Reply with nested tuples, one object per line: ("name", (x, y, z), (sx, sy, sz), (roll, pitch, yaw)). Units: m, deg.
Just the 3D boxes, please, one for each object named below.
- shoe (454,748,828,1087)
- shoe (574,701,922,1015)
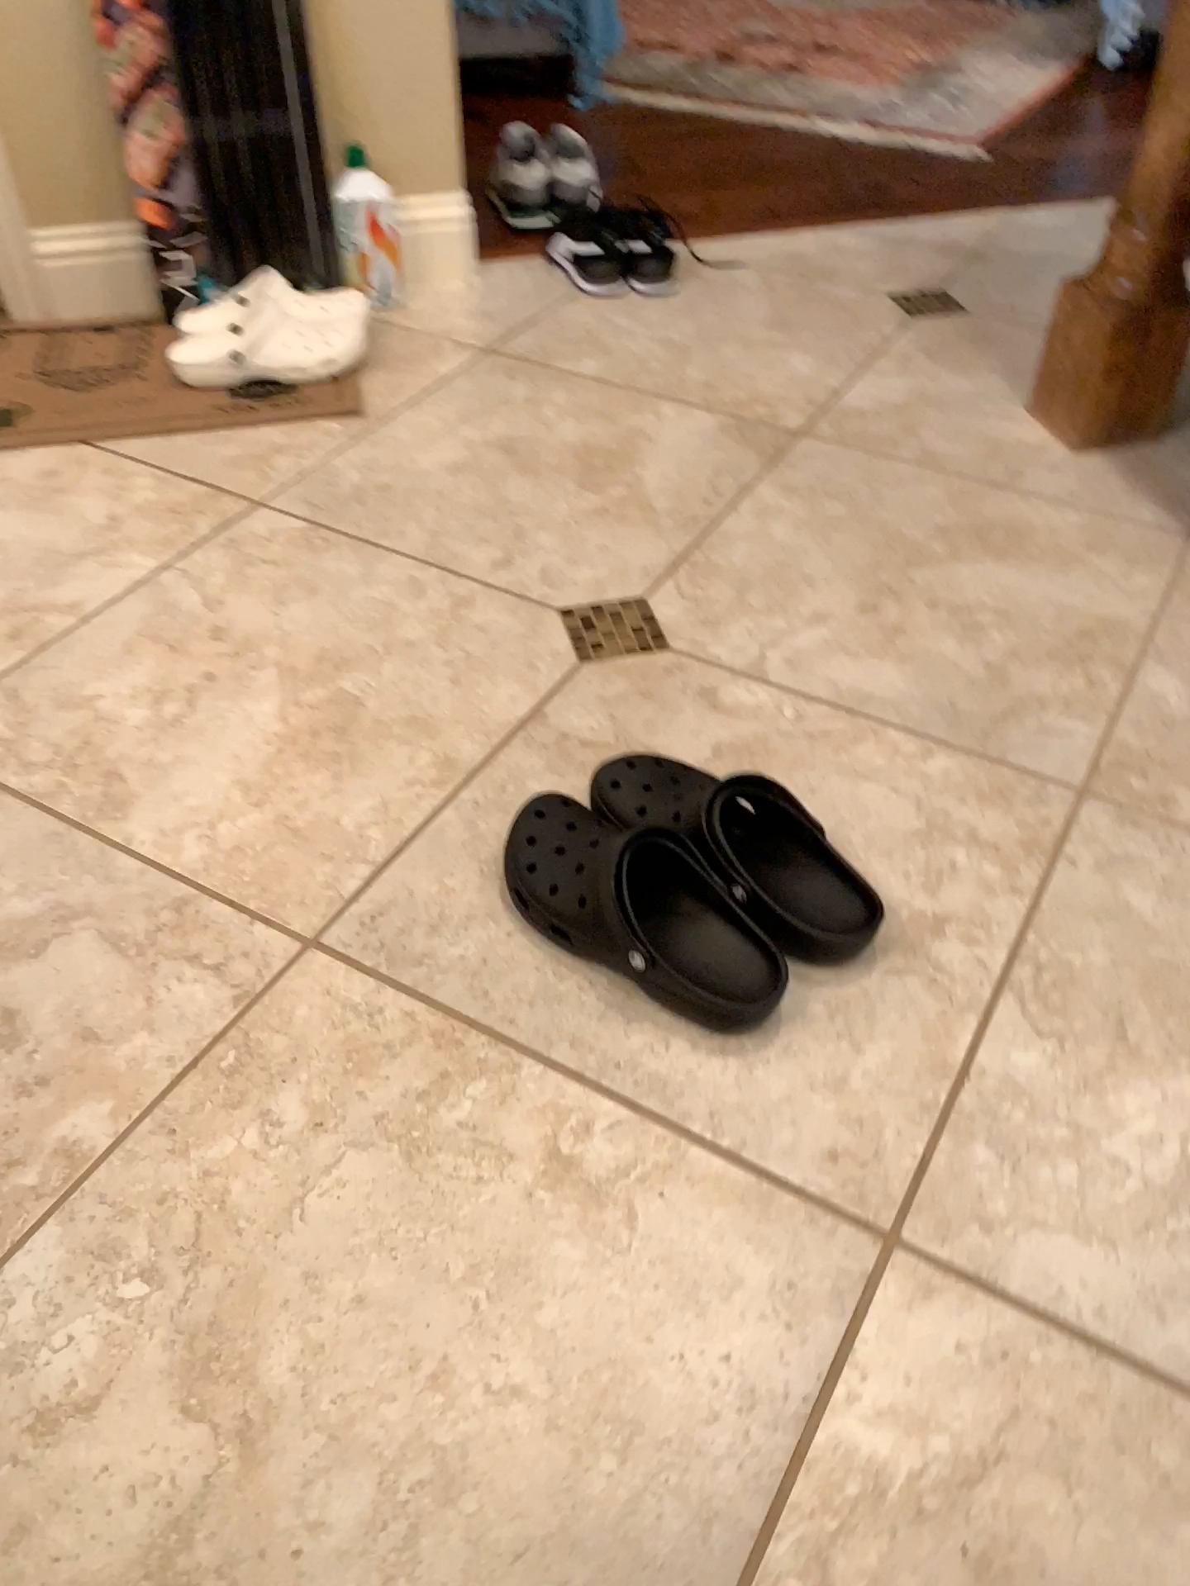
("shoe", (0.030, 0.089, 0.969), (0.279, 0.085, 0.124), (33, 53, 31))
("shoe", (0.118, 0.045, 1.018), (0.114, 0.085, 0.279), (-32, 51, -29))
